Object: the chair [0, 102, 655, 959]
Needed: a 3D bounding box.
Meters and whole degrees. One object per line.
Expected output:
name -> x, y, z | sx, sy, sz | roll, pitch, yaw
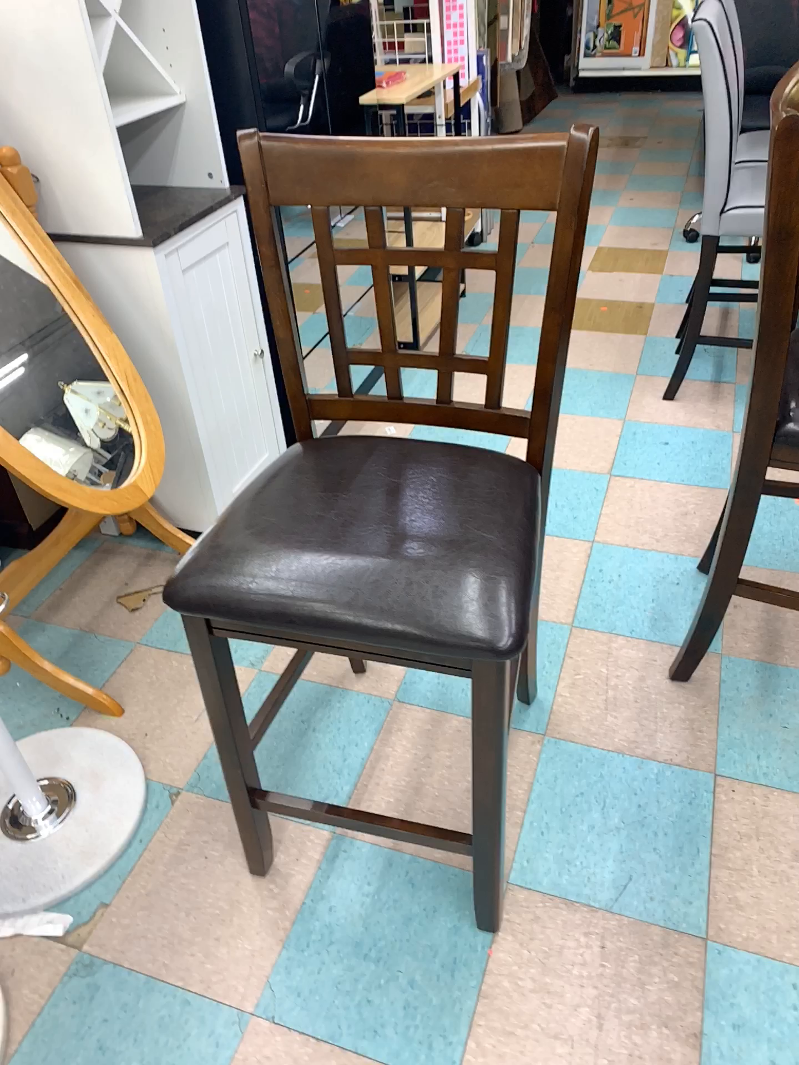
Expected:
chair -> -0.006, 0.009, 0.971 | 0.468, 0.849, 0.483 | 8, 40, 16
